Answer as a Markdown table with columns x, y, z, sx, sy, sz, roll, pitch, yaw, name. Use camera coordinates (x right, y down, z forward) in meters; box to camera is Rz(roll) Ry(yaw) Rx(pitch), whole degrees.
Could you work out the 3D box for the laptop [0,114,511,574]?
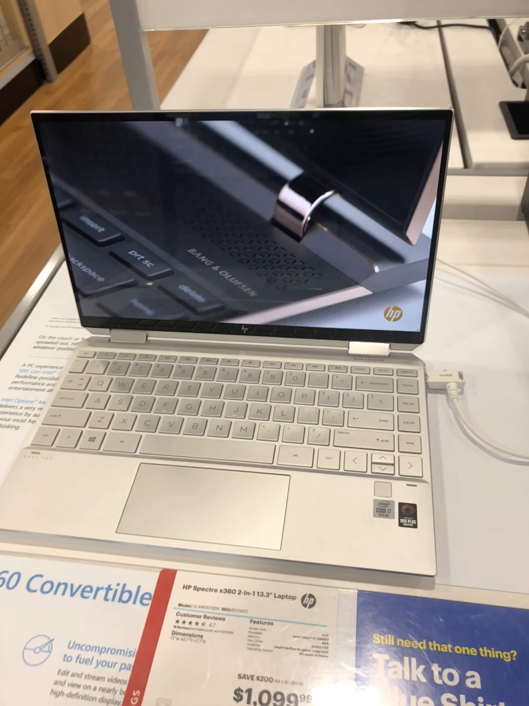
| x | y | z | sx | sy | sz | roll | pitch | yaw | name |
| --- | --- | --- | --- | --- | --- | --- | --- | --- | --- |
| -0.033 | -0.022 | 0.391 | 0.302 | 0.184 | 0.228 | 3 | 45 | 9 | laptop |
